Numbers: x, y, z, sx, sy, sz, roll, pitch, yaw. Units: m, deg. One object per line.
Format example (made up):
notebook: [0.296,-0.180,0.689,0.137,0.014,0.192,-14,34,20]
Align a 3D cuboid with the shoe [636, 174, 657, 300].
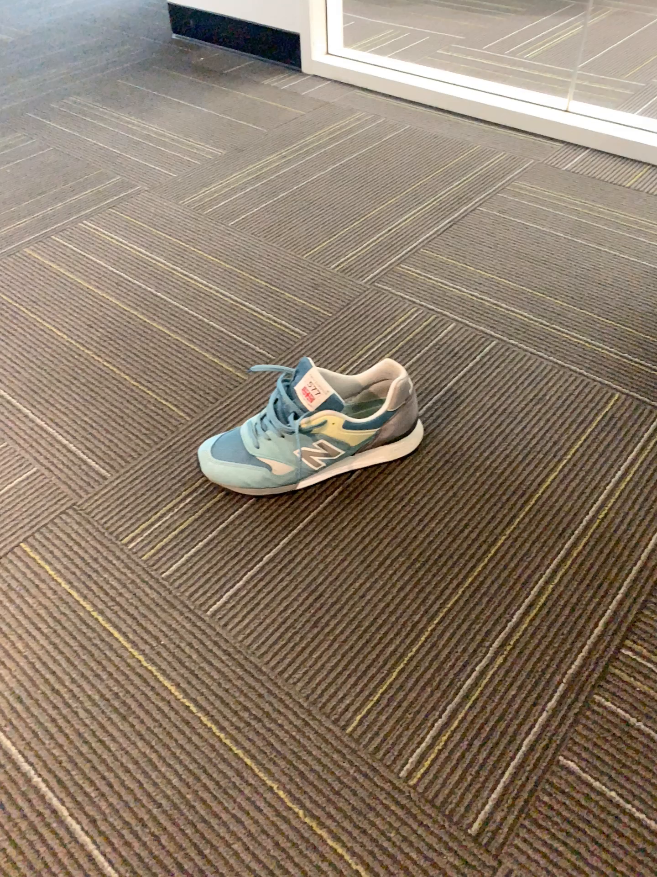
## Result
shoe: [0.686,-0.336,1.108,0.290,0.099,0.131,-16,47,-13]

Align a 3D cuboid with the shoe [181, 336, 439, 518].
shoe: [-0.023,-0.020,0.857,0.290,0.099,0.131,-16,47,-13]
